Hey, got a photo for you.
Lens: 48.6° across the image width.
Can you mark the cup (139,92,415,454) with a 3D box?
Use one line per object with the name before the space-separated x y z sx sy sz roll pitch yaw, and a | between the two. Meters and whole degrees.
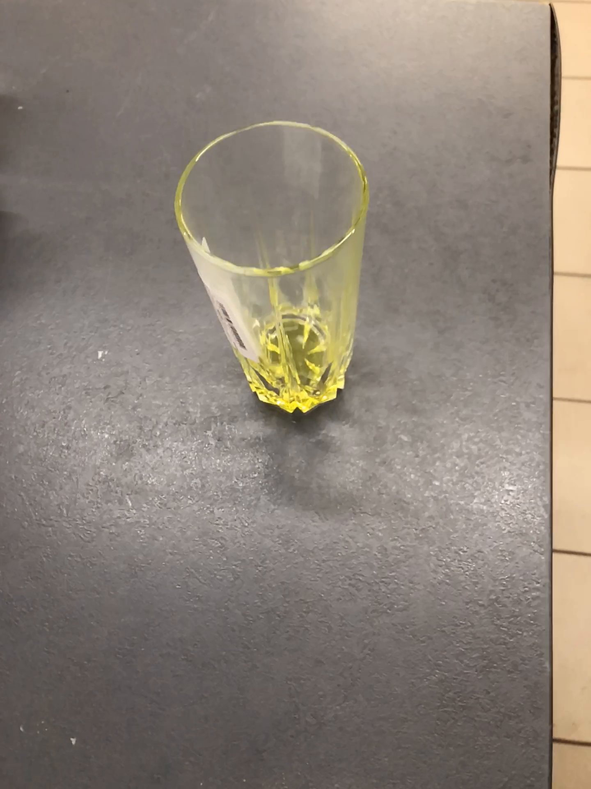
cup | -0.004 -0.043 0.294 0.070 0.134 0.075 -2 65 4
